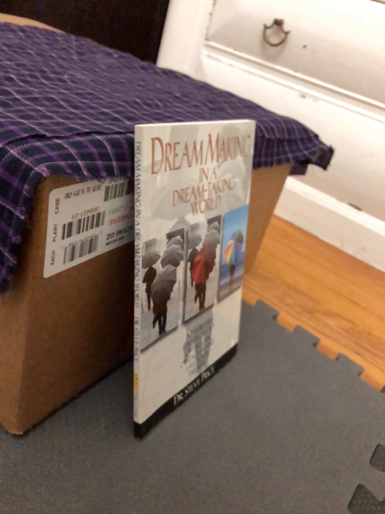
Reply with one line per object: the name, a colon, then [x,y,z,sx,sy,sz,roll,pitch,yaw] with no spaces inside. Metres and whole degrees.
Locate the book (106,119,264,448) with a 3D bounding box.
book: [0.000,0.012,0.333,0.020,0.219,0.151,17,25,33]
